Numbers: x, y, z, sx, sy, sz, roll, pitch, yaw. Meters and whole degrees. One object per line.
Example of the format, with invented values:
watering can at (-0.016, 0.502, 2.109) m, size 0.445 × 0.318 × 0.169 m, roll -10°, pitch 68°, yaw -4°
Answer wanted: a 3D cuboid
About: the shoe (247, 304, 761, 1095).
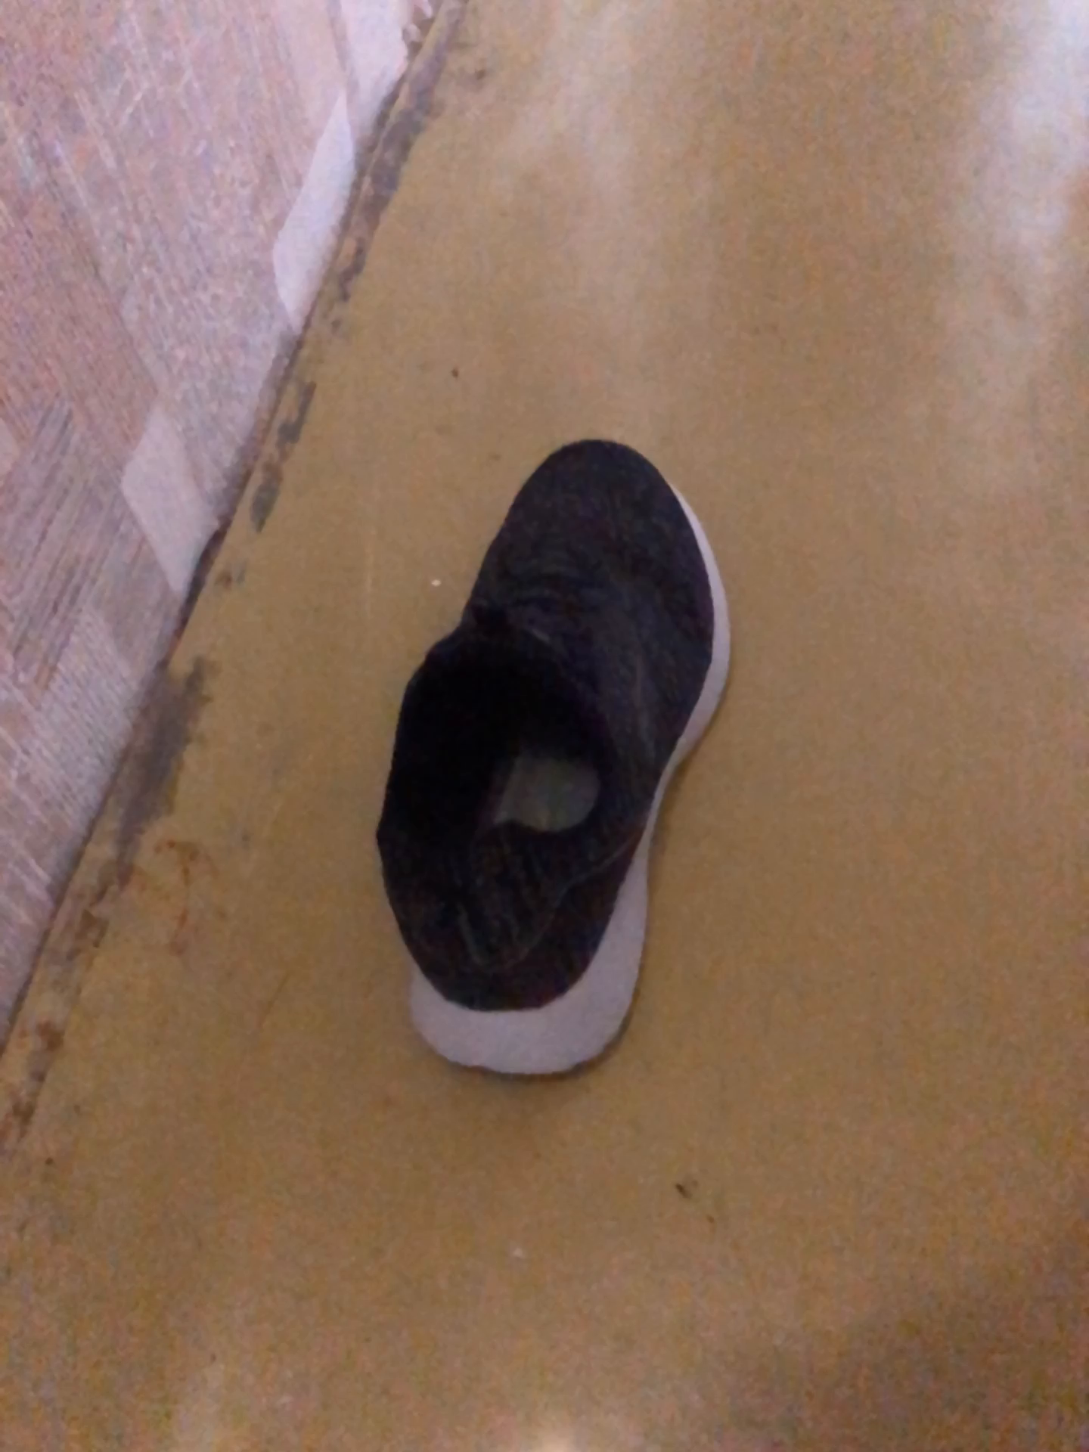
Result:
shoe at (0.006, -0.028, 0.525) m, size 0.130 × 0.120 × 0.321 m, roll 7°, pitch 58°, yaw 13°
